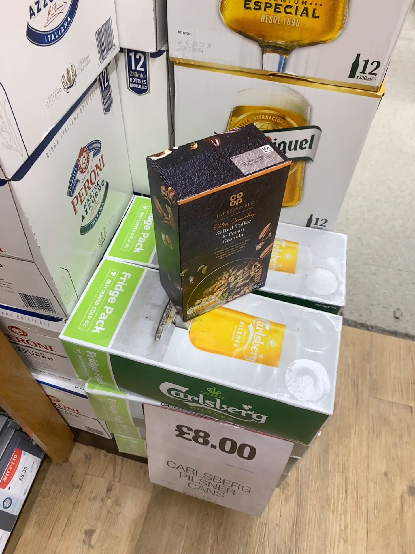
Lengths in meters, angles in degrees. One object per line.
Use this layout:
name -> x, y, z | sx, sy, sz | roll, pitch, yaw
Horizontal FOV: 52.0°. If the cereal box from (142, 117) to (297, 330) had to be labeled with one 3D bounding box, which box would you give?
cereal box -> 0.009, -0.050, 0.478 | 0.120, 0.208, 0.080 | -23, 56, -18
